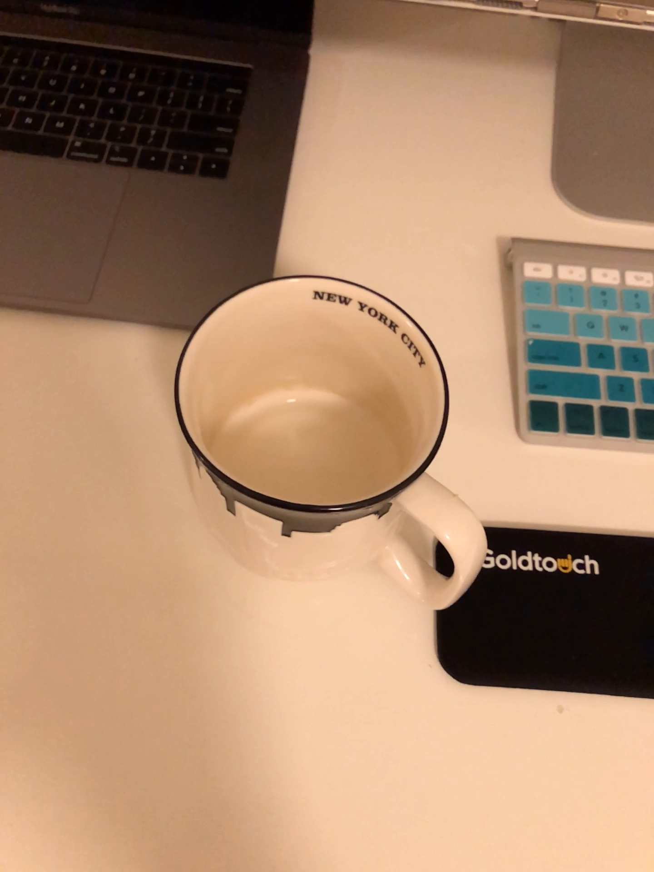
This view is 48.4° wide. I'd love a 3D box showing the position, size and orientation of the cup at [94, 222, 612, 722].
[{"bbox_3d":[0.006,0.015,0.298,0.150,0.090,0.110,42,67,15],"label":"cup"}]
